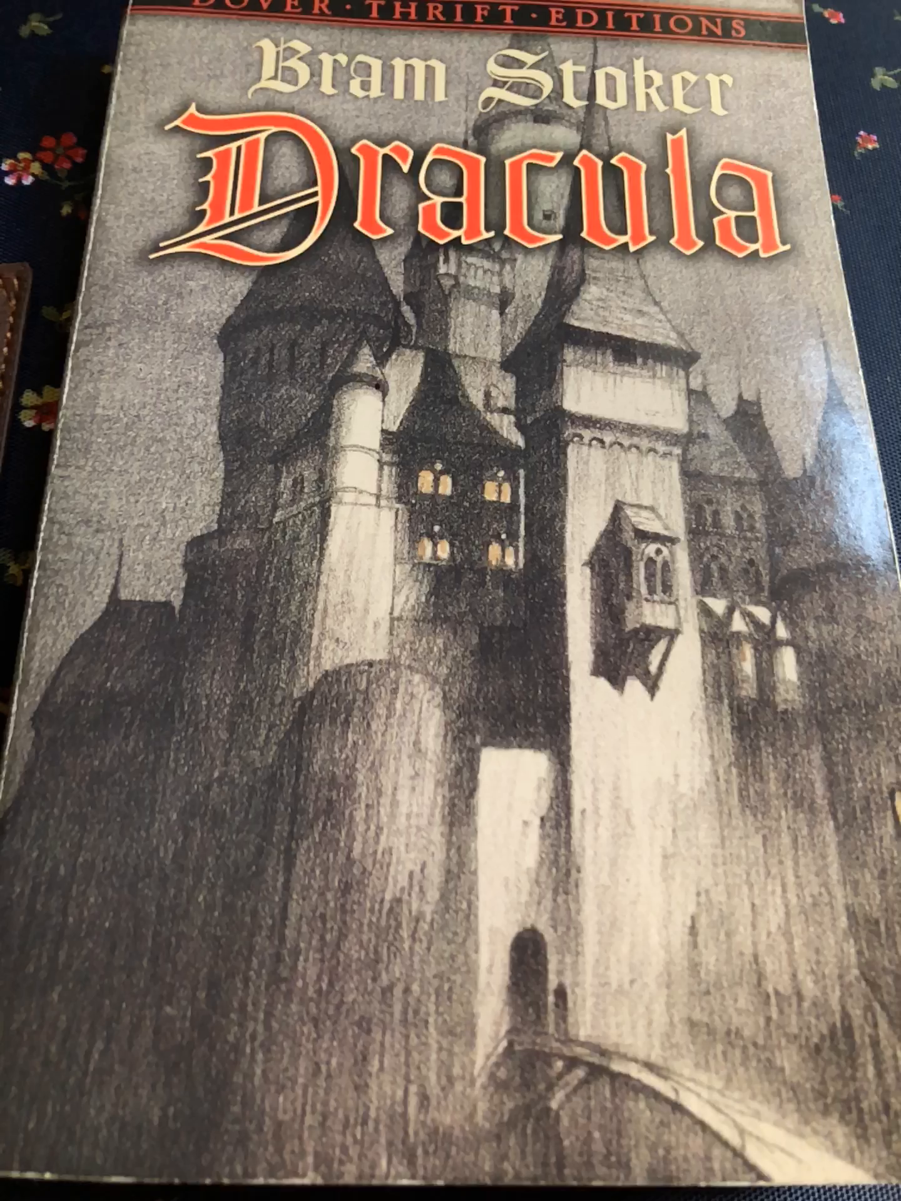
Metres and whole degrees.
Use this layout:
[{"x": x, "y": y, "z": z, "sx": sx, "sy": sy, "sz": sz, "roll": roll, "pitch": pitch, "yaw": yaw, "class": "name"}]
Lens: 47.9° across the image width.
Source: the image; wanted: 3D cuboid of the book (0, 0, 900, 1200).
[{"x": 0.000, "y": -0.018, "z": 0.170, "sx": 0.130, "sy": 0.033, "sz": 0.203, "roll": 1, "pitch": 70, "yaw": -3, "class": "book"}]
